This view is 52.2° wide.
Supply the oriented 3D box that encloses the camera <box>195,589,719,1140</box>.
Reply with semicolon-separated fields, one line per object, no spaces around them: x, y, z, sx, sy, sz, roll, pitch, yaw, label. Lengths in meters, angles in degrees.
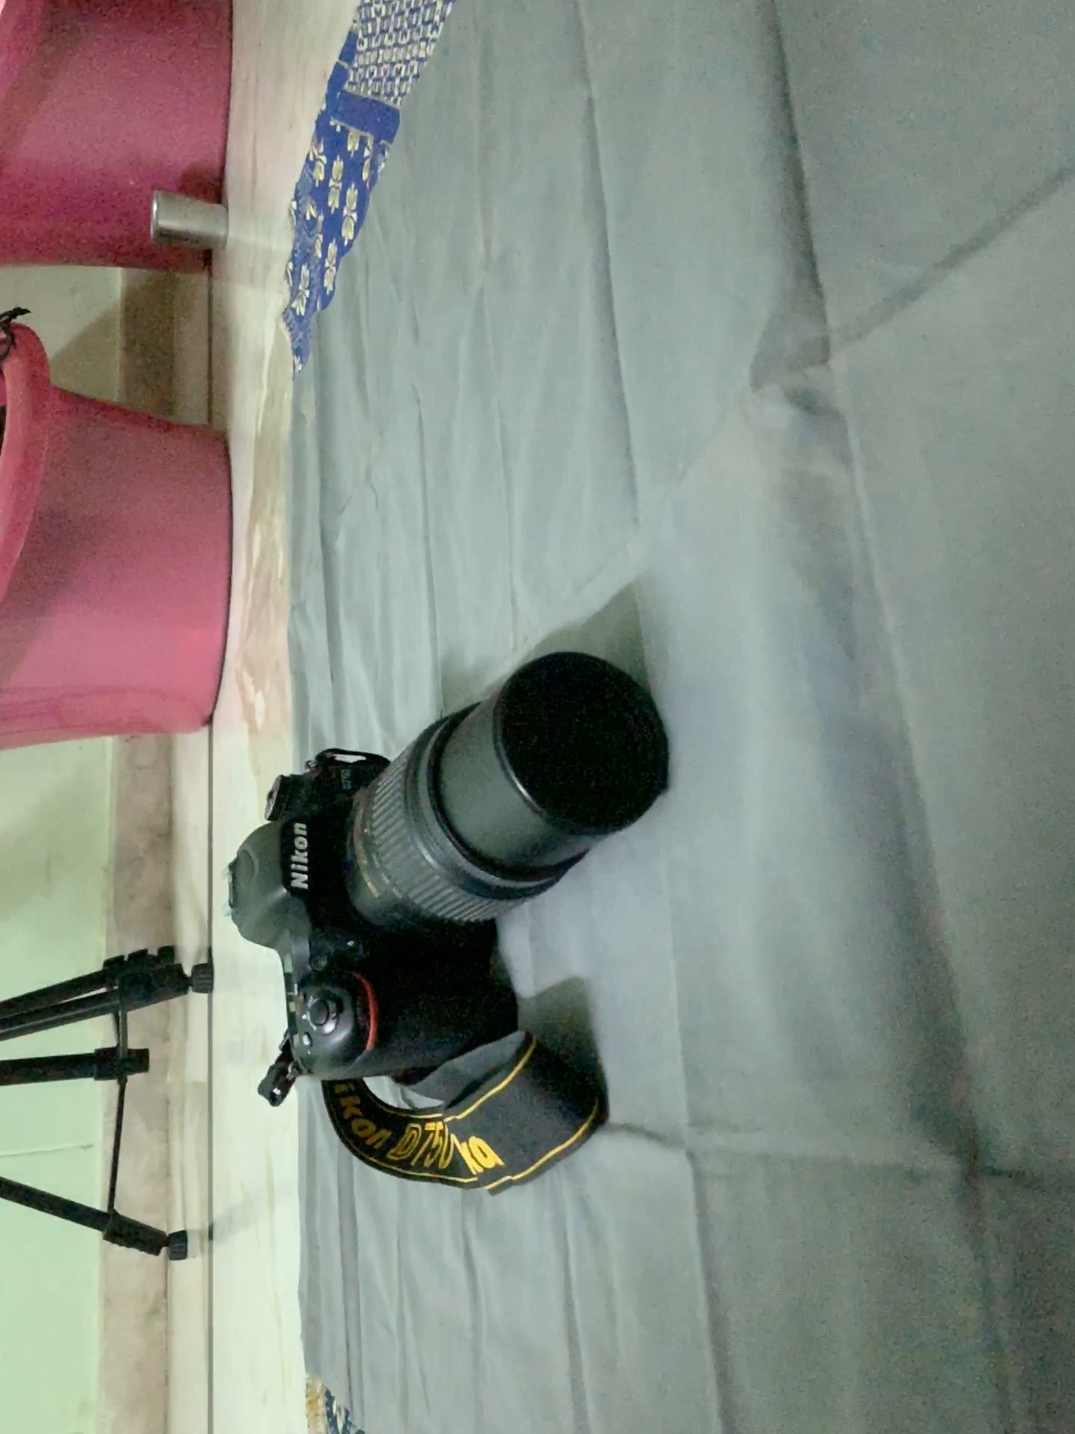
-0.062;0.080;0.437;0.289;0.109;0.147;141;127;-60;camera
